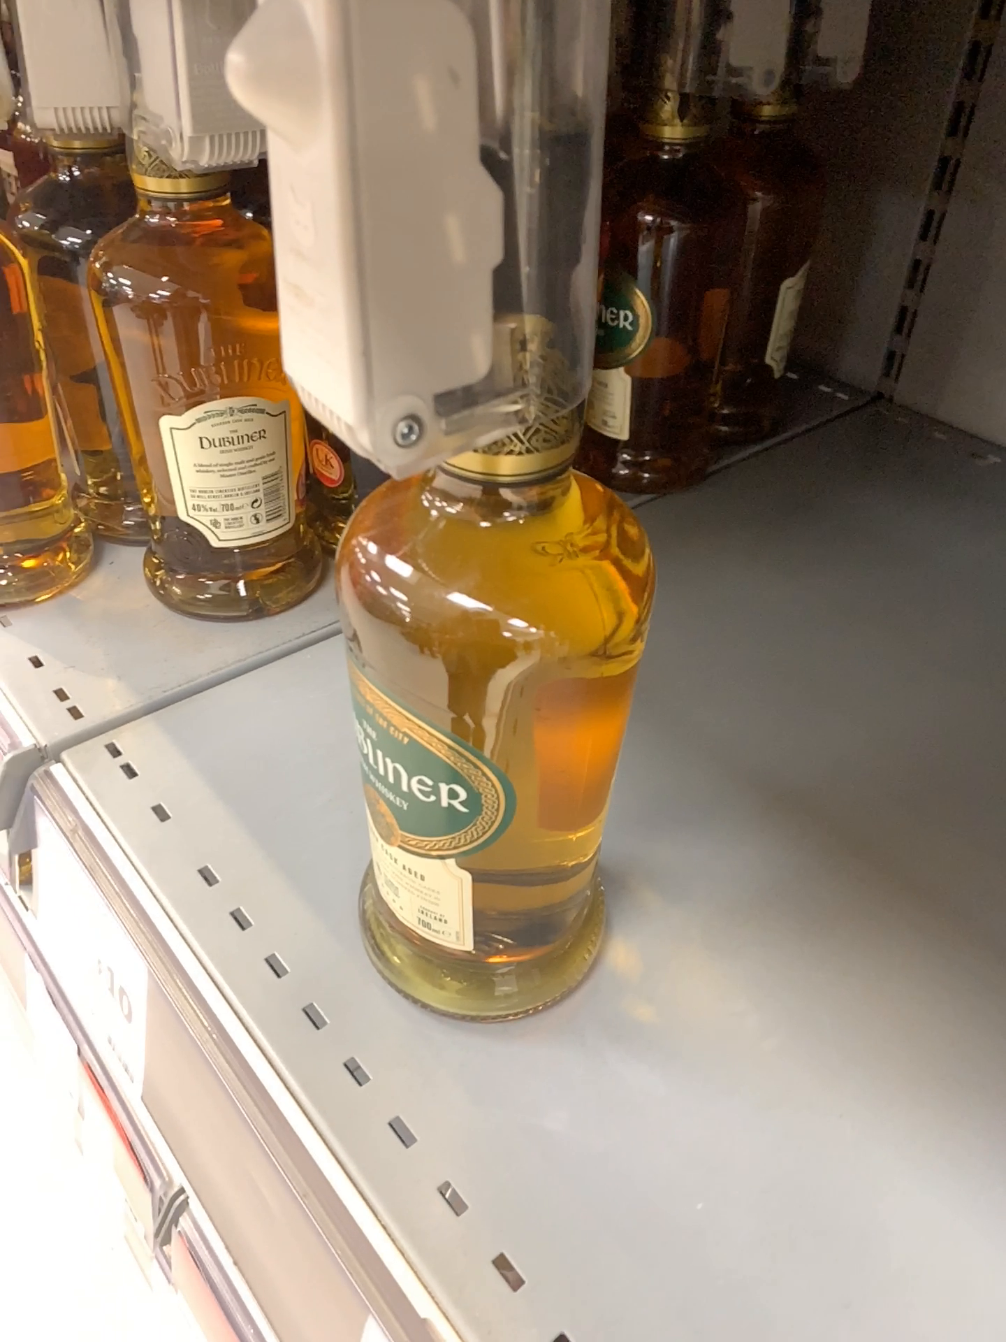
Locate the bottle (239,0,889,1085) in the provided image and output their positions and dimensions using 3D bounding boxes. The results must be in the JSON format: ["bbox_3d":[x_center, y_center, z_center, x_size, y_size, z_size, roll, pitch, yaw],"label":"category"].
[{"bbox_3d":[0.003,-0.020,0.283,0.090,0.283,0.089,2,38,-1],"label":"bottle"}]
